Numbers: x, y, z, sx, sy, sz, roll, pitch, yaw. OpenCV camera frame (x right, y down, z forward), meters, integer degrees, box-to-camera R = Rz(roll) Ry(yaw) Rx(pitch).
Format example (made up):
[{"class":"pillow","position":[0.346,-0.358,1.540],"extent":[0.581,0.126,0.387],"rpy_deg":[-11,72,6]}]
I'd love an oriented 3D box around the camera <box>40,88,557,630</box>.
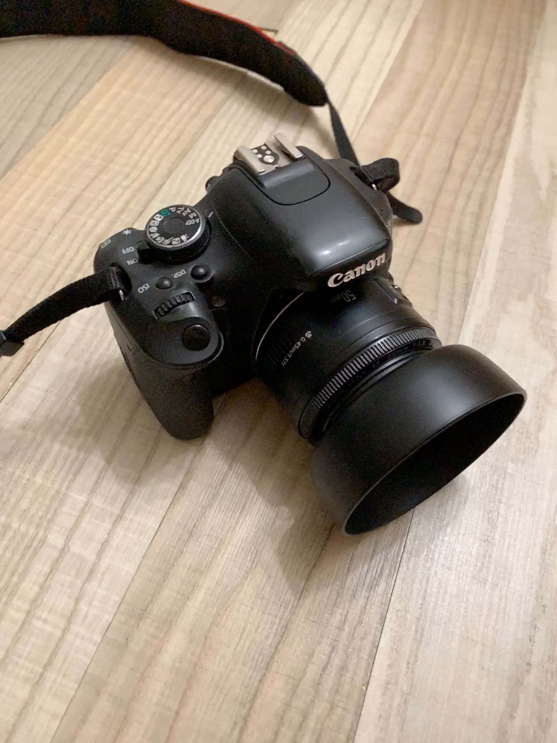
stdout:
[{"class":"camera","position":[0.012,-0.013,0.230],"extent":[0.139,0.089,0.151],"rpy_deg":[-26,61,-17]}]
